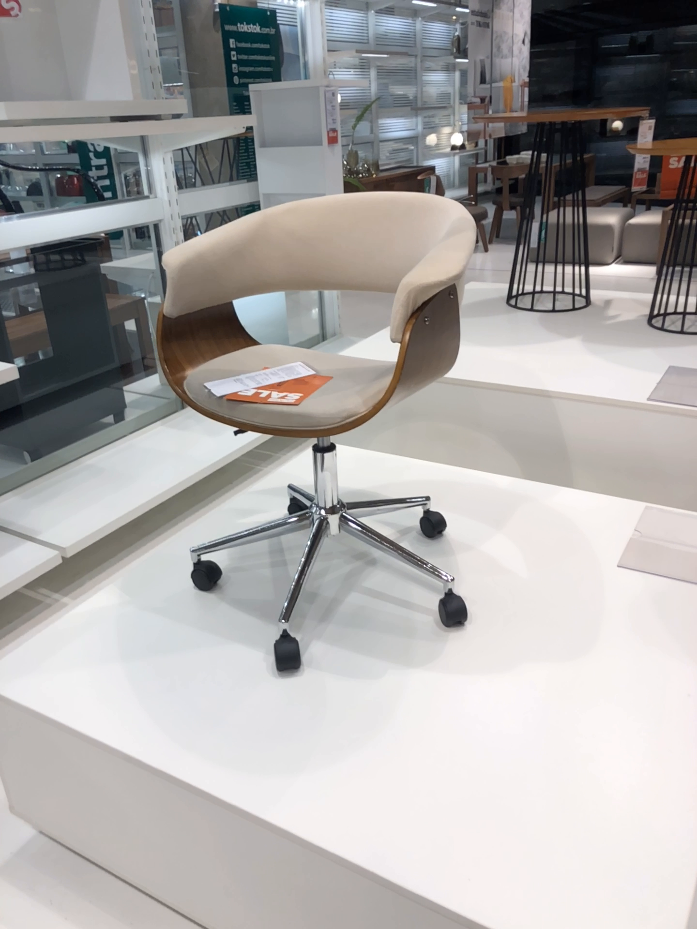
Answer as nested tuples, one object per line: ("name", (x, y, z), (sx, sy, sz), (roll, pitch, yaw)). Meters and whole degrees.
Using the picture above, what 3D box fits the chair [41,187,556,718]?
("chair", (-0.029, -0.113, 1.469), (0.631, 0.725, 0.674), (10, 27, 28))
